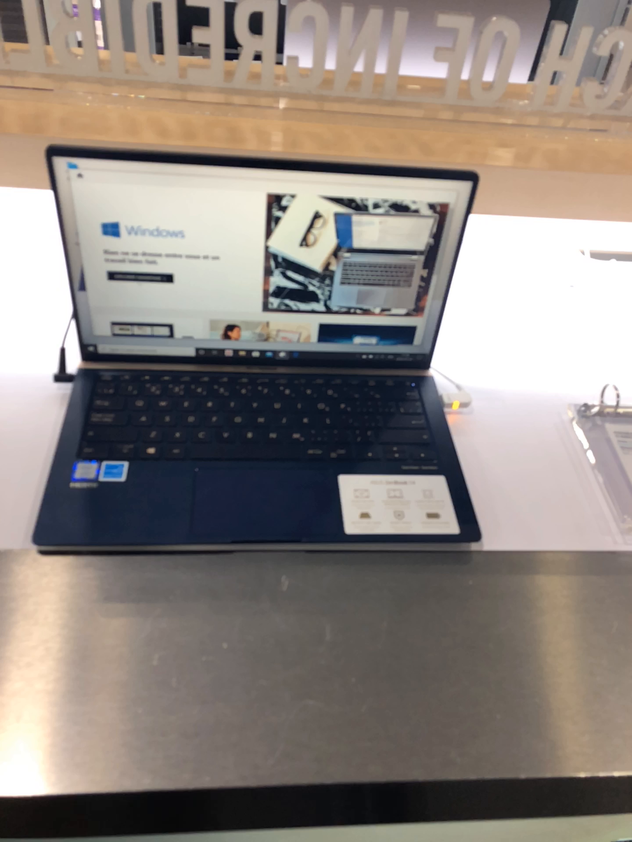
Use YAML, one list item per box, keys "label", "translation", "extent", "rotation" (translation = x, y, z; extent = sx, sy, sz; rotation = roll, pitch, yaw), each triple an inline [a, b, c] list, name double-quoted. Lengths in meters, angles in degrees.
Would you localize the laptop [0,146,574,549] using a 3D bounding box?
- label: "laptop"
  translation: [-0.031, -0.049, 0.466]
  extent: [0.301, 0.181, 0.192]
  rotation: [1, 43, -8]
